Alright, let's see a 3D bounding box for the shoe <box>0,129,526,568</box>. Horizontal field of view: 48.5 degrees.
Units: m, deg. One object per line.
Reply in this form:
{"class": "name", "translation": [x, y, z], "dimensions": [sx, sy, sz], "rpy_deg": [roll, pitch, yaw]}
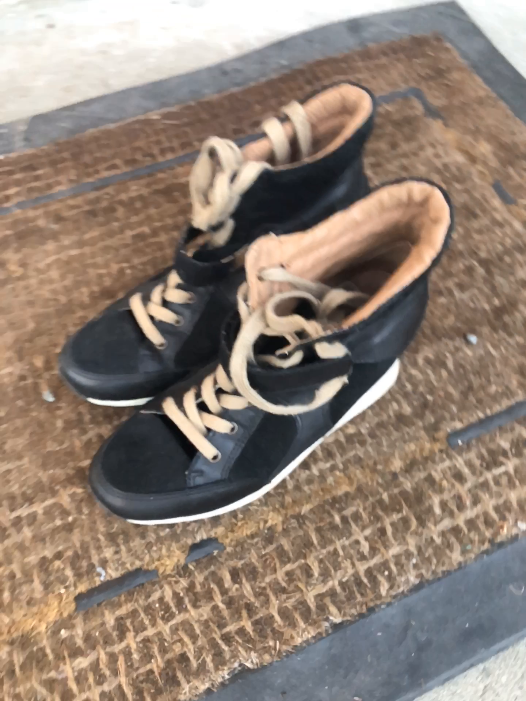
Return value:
{"class": "shoe", "translation": [0.007, 0.005, 0.343], "dimensions": [0.240, 0.159, 0.090], "rpy_deg": [-28, 62, -15]}

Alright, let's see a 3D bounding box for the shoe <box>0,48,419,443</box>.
{"class": "shoe", "translation": [-0.033, -0.063, 0.384], "dimensions": [0.230, 0.159, 0.090], "rpy_deg": [-28, 62, -15]}
